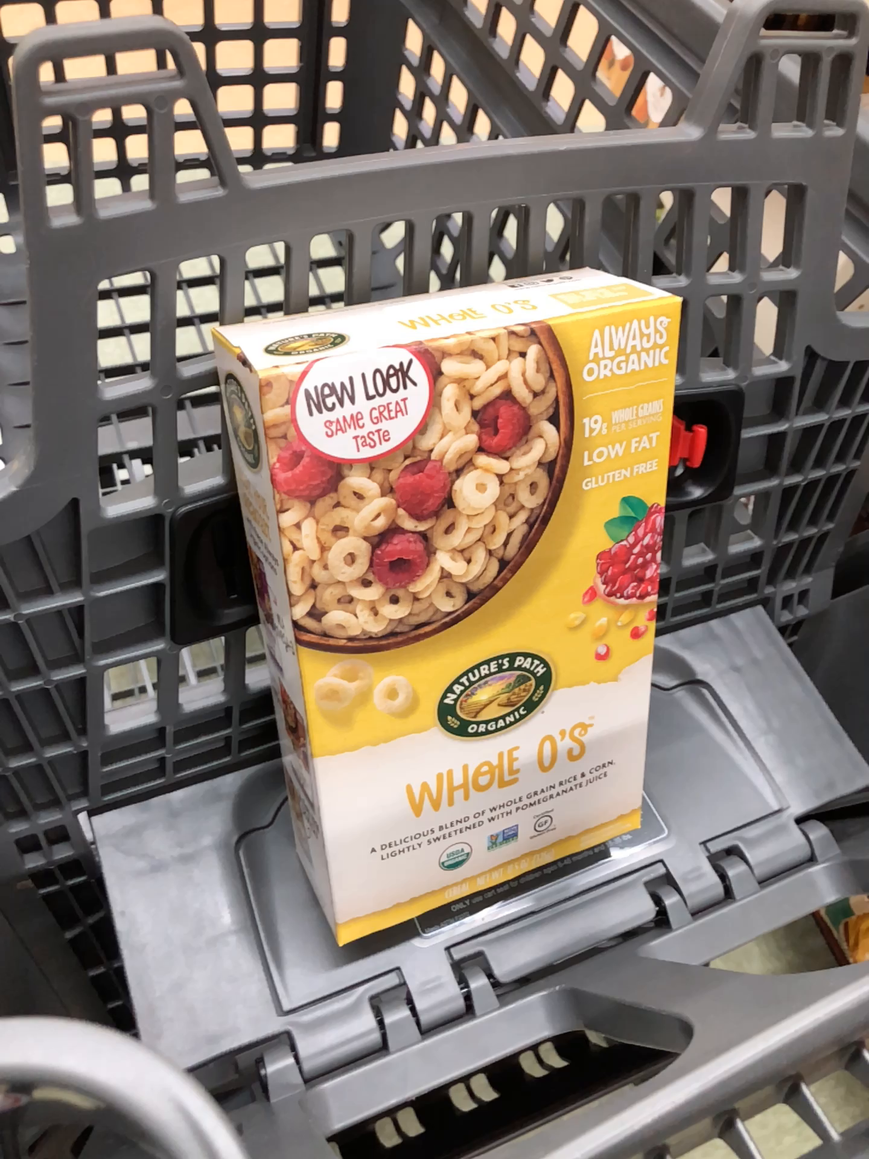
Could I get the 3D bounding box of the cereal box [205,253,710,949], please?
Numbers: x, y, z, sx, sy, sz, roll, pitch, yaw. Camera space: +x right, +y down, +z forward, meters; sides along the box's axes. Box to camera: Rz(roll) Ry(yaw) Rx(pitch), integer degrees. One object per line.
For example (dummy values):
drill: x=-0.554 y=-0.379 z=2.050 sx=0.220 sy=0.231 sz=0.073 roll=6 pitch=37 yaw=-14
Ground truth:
cereal box: x=0.014 y=0.013 z=0.388 sx=0.160 sy=0.250 sz=0.060 roll=-15 pitch=32 yaw=-19
